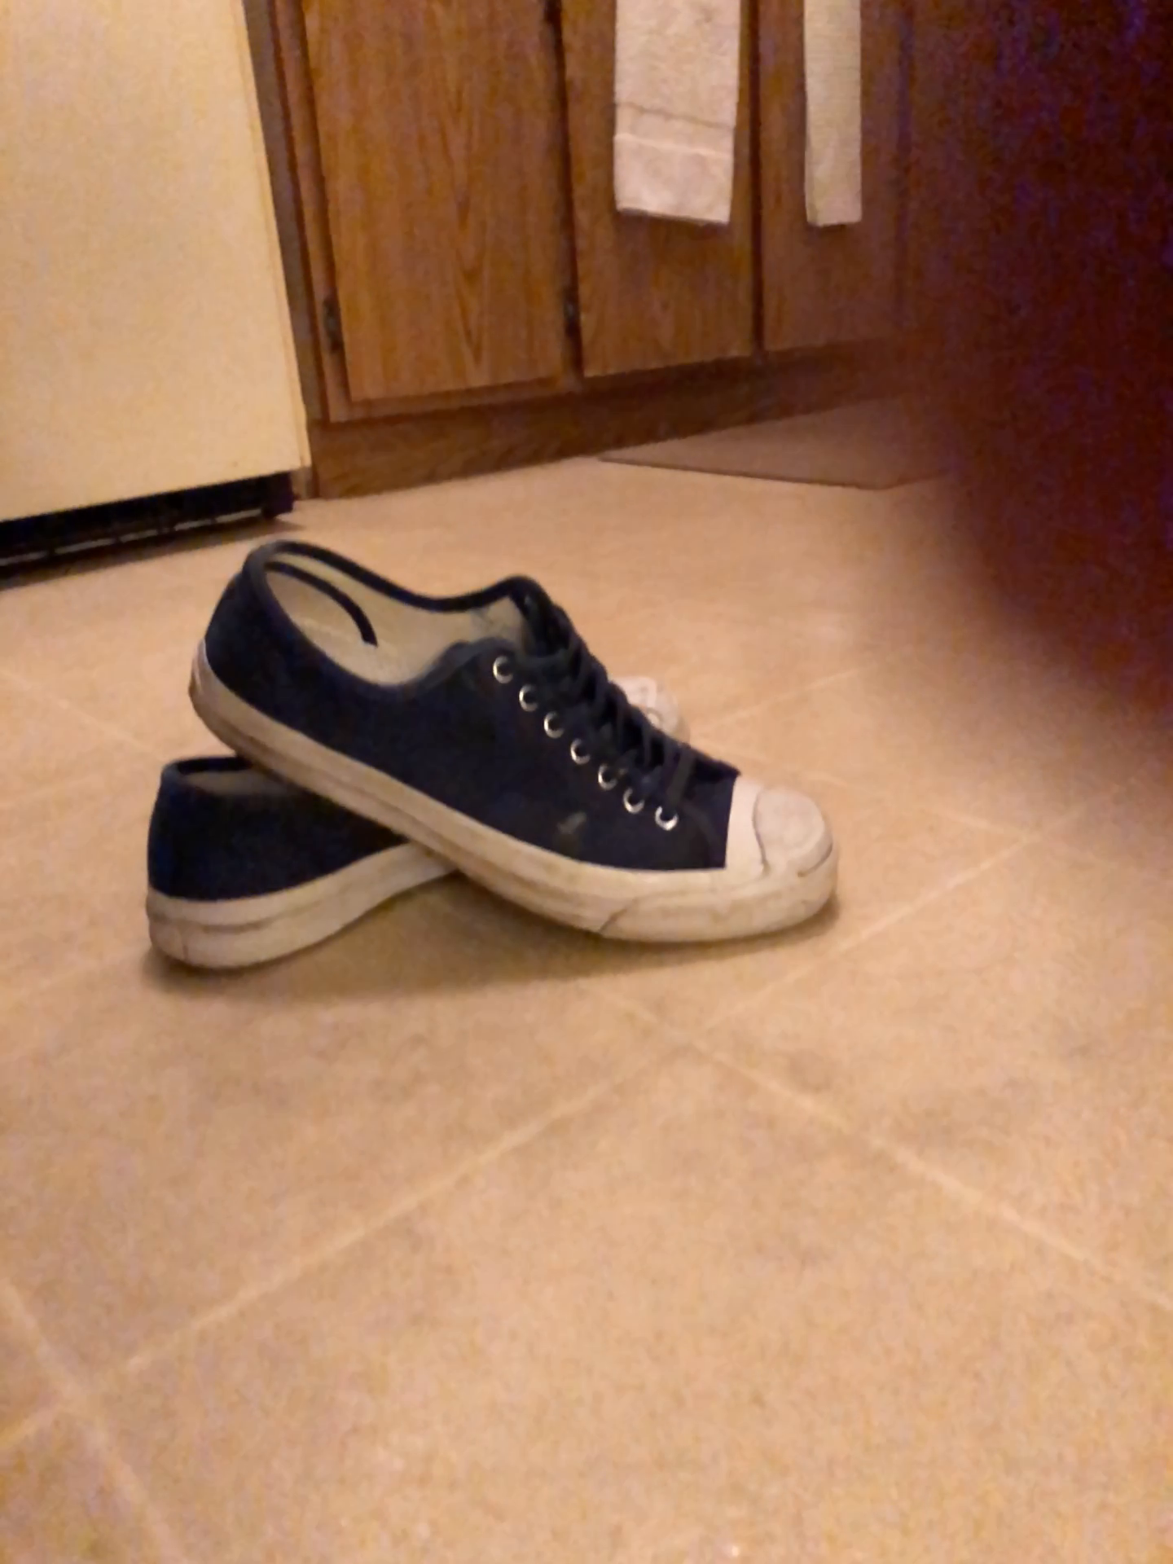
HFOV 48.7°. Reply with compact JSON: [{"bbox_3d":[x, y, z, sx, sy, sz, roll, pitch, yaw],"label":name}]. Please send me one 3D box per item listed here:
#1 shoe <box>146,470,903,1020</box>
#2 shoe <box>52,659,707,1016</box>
[{"bbox_3d":[-0.023,-0.015,0.550,0.290,0.099,0.101,20,41,-2],"label":"shoe"},{"bbox_3d":[-0.086,0.010,0.619,0.290,0.080,0.110,-14,27,-40],"label":"shoe"}]
